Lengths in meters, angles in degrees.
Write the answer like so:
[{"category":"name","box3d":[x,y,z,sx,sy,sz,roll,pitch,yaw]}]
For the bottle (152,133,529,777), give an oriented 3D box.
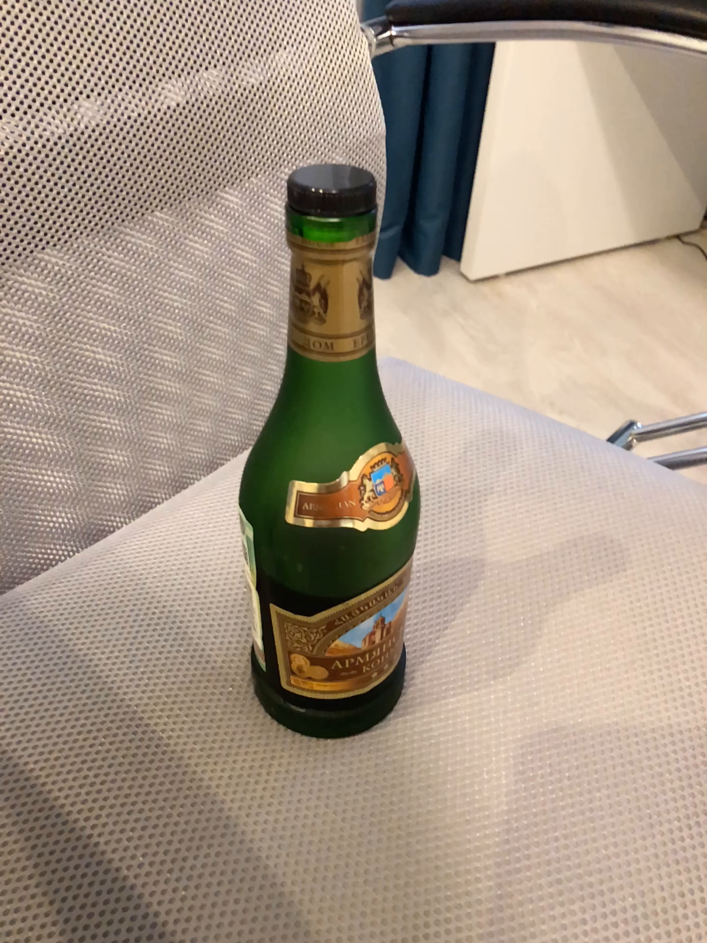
[{"category":"bottle","box3d":[-0.007,0.011,0.302,0.078,0.238,0.074,1,43,-1]}]
